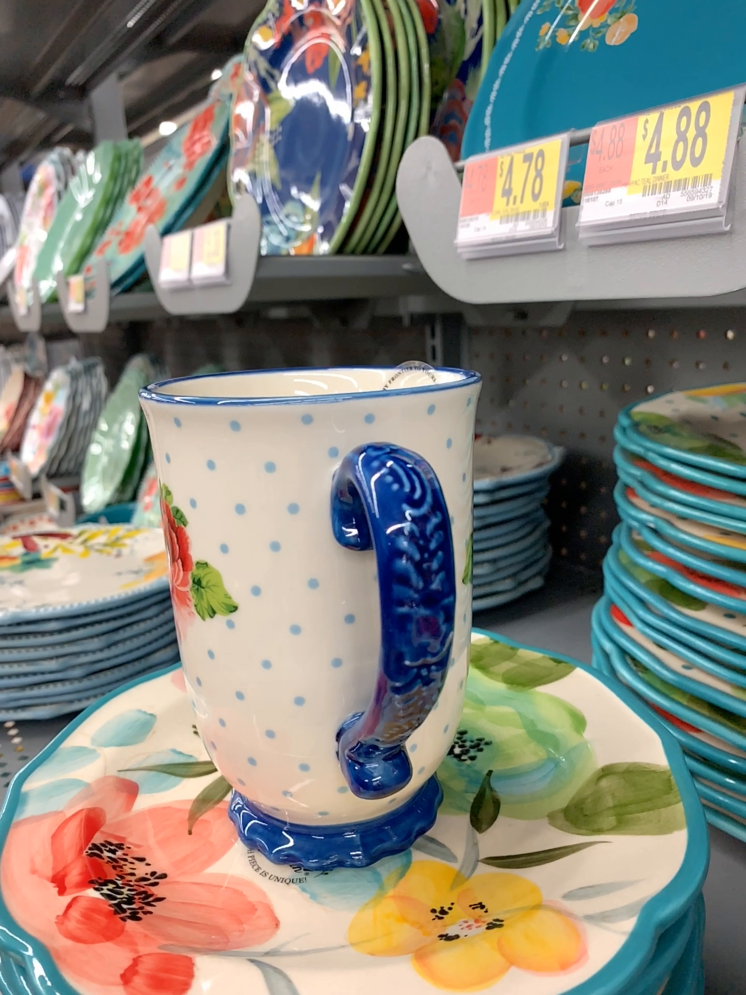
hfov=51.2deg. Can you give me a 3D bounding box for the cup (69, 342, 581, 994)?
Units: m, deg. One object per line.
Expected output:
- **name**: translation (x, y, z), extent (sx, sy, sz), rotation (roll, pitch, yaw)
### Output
- **cup**: translation (-0.022, 0.030, 0.210), extent (0.090, 0.130, 0.130), rotation (-9, 15, -21)
